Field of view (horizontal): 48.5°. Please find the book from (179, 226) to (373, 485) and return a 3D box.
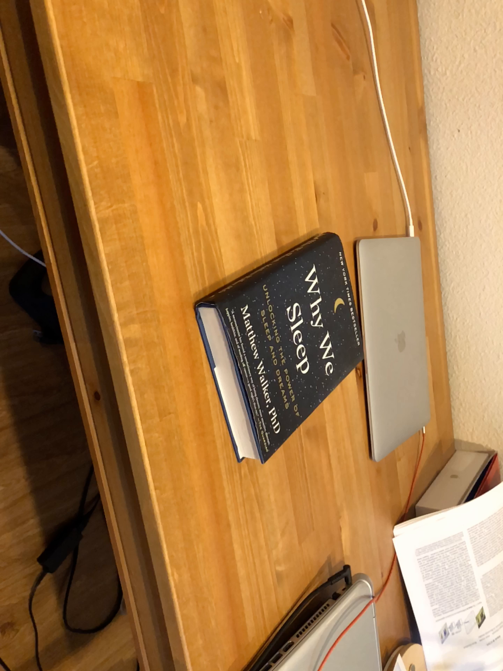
[{"bbox_3d":[0.043,0.005,0.561,0.241,0.040,0.170,-36,118,-48],"label":"book"}]
